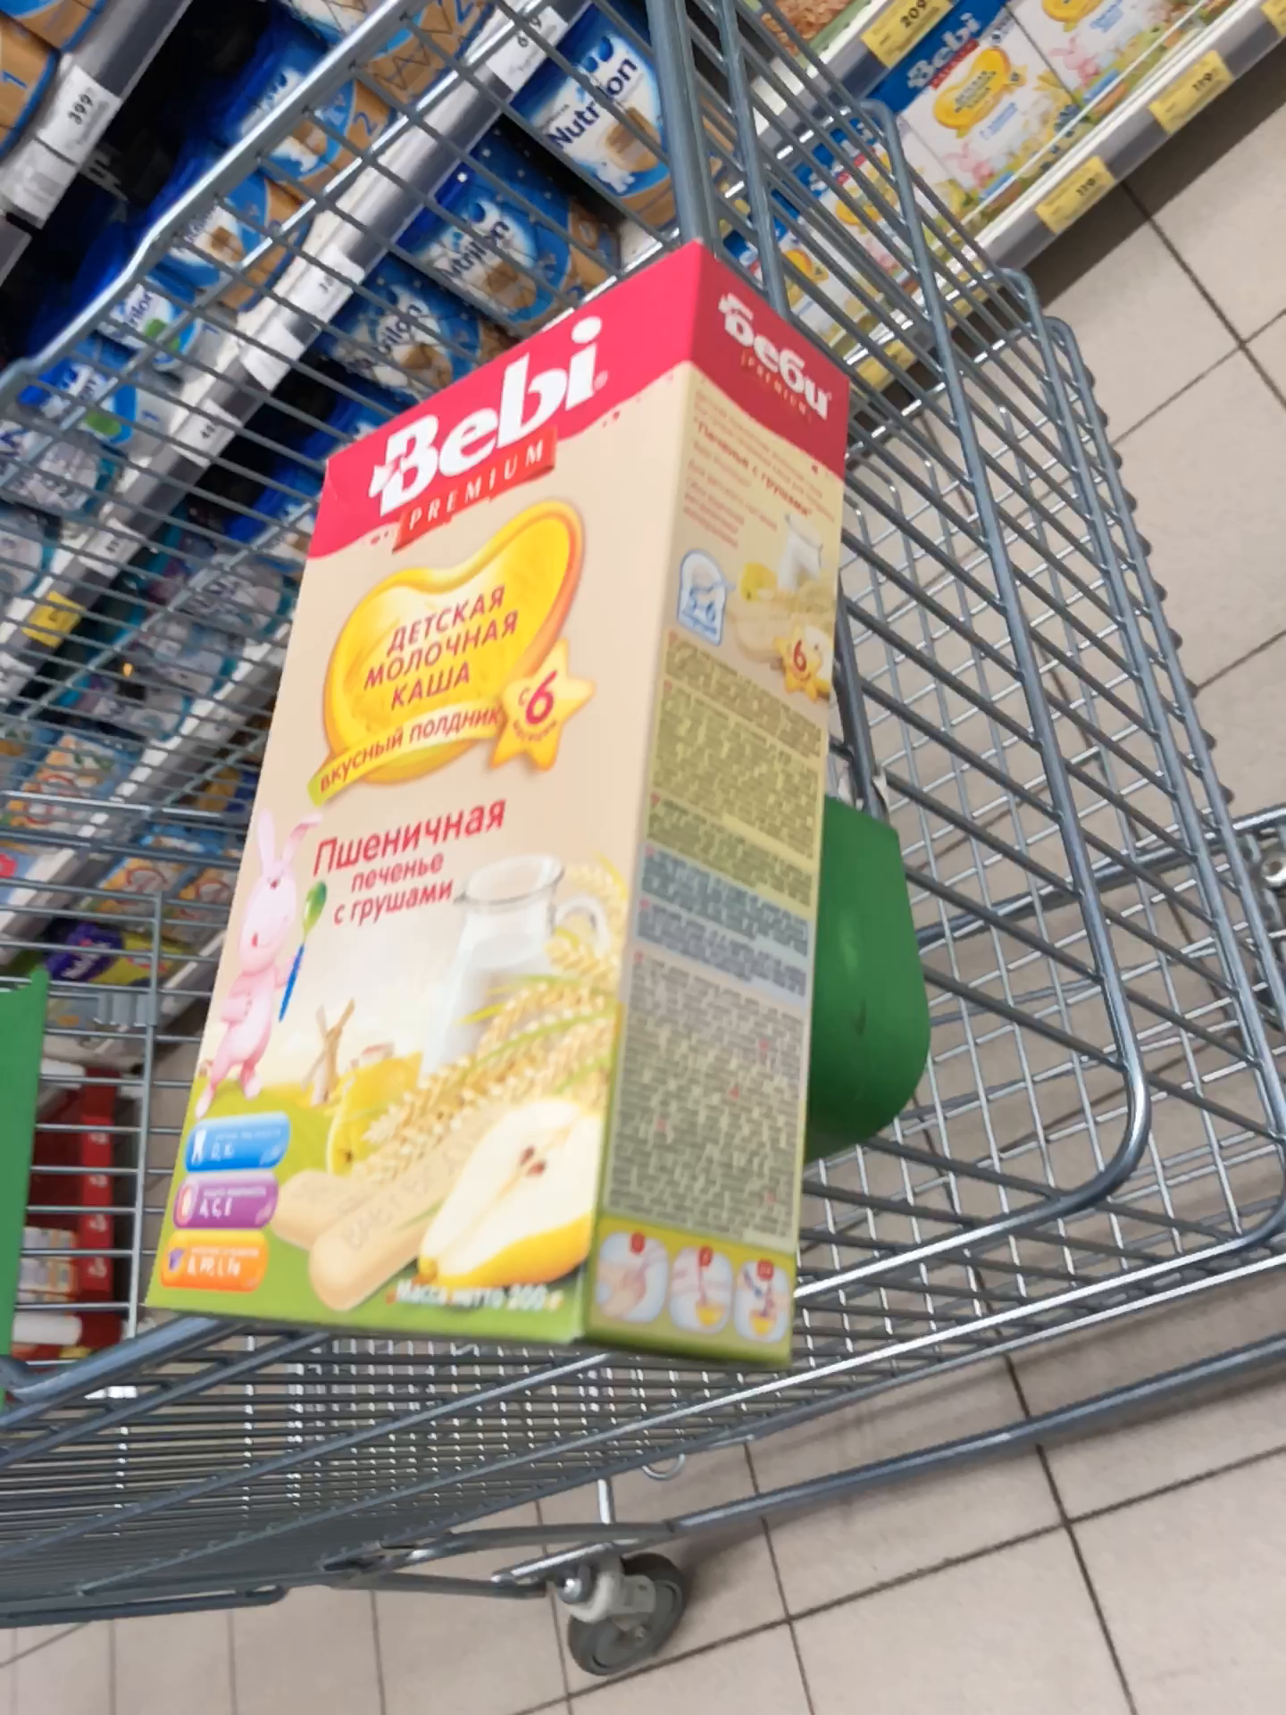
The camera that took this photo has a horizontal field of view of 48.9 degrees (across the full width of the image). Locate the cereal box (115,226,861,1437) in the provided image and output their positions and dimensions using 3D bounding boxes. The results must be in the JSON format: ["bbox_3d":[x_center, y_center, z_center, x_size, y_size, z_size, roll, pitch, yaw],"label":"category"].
[{"bbox_3d":[-0.029,-0.003,0.290,0.131,0.050,0.210,-14,61,42],"label":"cereal box"}]
